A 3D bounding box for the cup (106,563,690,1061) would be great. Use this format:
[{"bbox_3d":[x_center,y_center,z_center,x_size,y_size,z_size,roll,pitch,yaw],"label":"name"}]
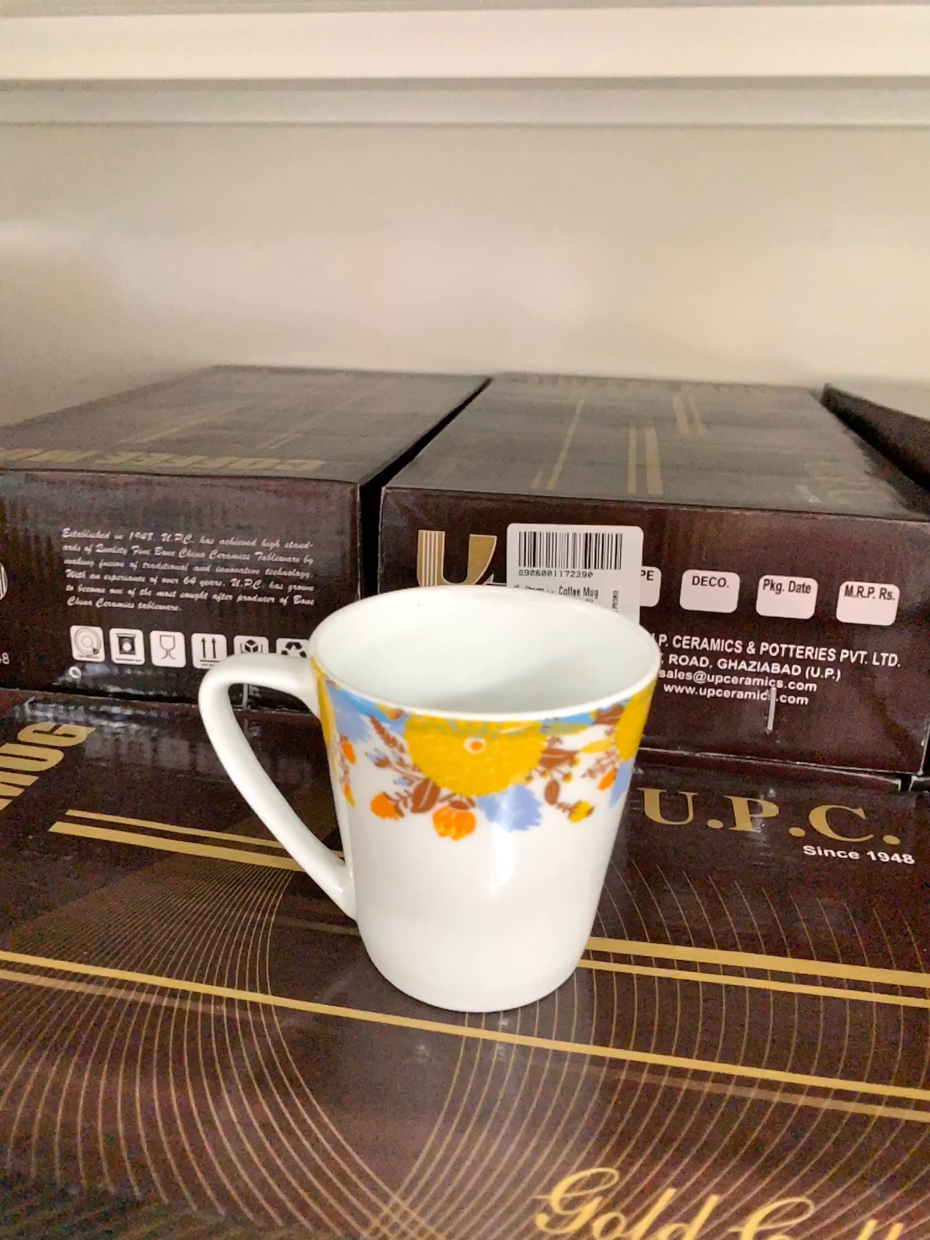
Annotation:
[{"bbox_3d":[-0.007,0.030,0.189,0.092,0.058,0.068,5,21,10],"label":"cup"}]
